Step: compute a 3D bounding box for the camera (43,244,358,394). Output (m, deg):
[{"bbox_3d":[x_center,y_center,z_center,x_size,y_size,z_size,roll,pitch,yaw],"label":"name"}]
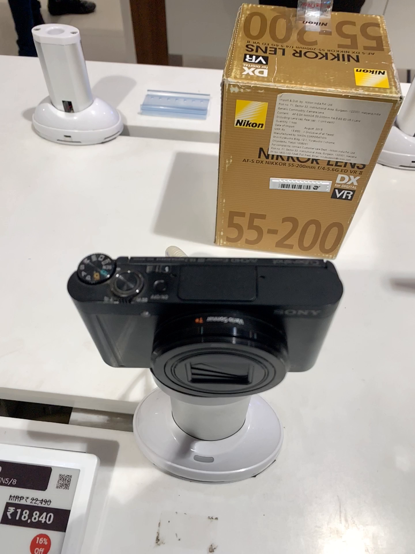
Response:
[{"bbox_3d":[-0.002,0.019,0.169,0.100,0.060,0.030,1,54,1],"label":"camera"}]
